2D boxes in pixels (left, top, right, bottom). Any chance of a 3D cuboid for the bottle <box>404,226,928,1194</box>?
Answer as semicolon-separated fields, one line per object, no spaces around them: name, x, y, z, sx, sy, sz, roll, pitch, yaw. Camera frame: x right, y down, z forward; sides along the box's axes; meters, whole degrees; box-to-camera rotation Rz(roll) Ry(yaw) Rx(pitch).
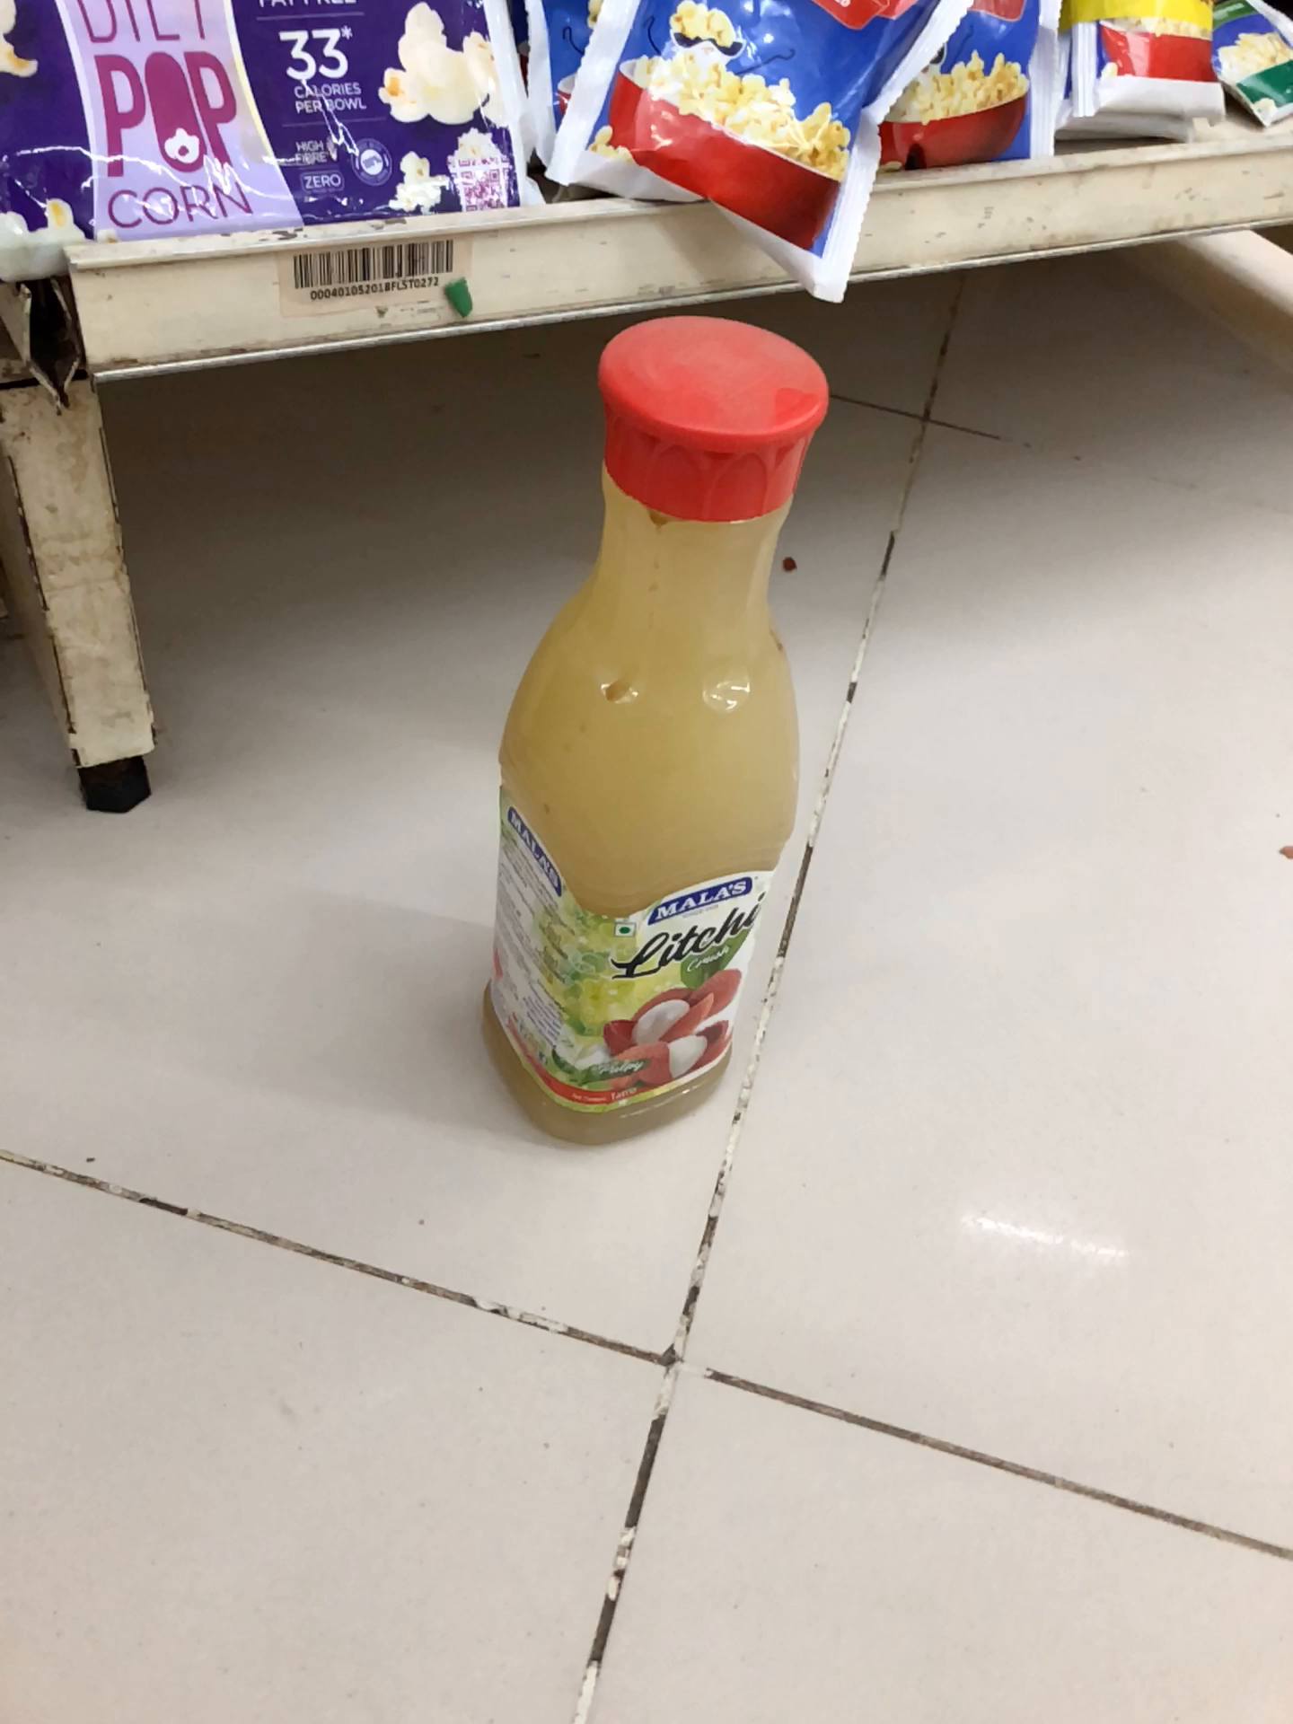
bottle;-0.013;-0.025;0.434;0.090;0.288;0.090;4;47;-5
